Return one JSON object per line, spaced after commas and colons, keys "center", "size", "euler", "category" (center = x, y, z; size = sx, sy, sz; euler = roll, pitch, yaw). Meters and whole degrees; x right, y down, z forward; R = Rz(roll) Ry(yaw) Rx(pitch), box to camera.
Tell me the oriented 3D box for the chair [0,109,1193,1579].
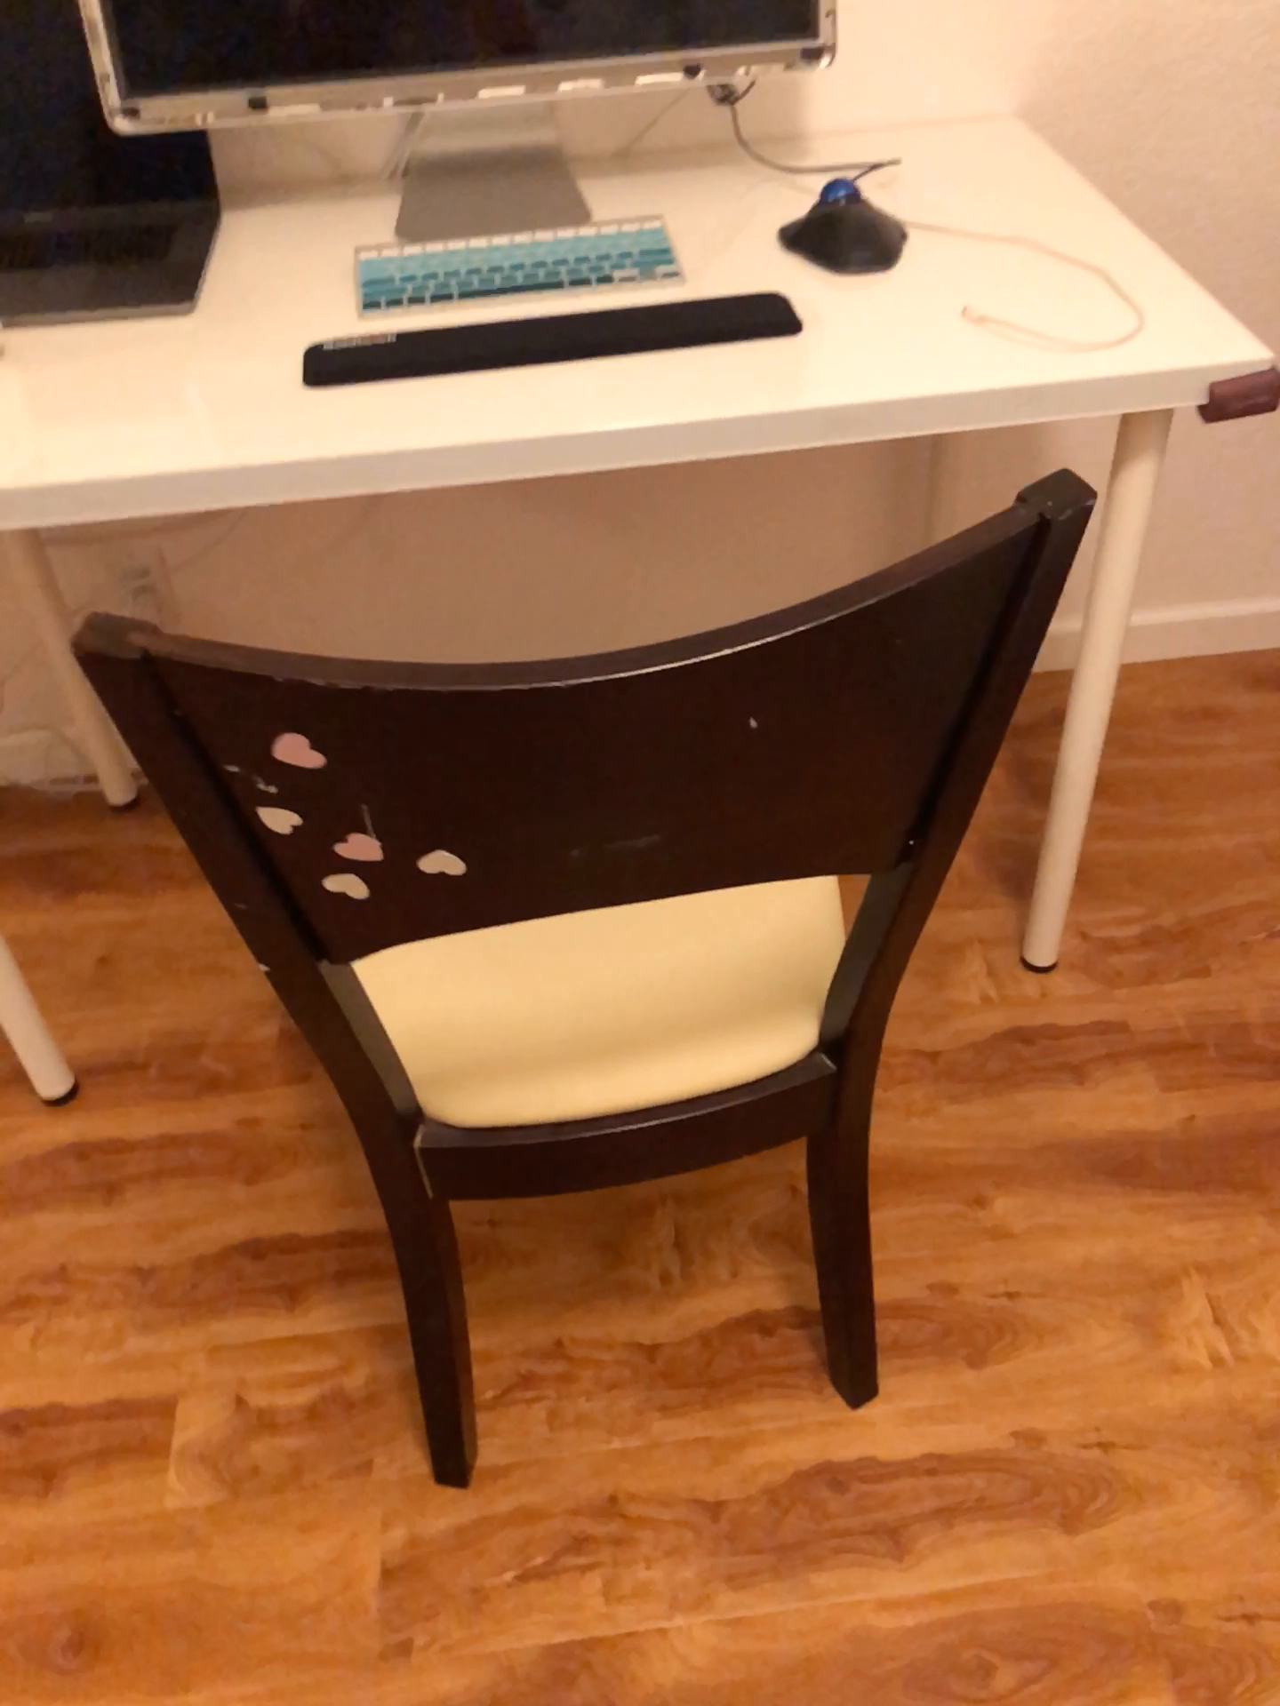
{"center": [-0.073, 0.008, 1.118], "size": [0.570, 0.885, 0.664], "euler": [-8, 42, -4], "category": "chair"}
